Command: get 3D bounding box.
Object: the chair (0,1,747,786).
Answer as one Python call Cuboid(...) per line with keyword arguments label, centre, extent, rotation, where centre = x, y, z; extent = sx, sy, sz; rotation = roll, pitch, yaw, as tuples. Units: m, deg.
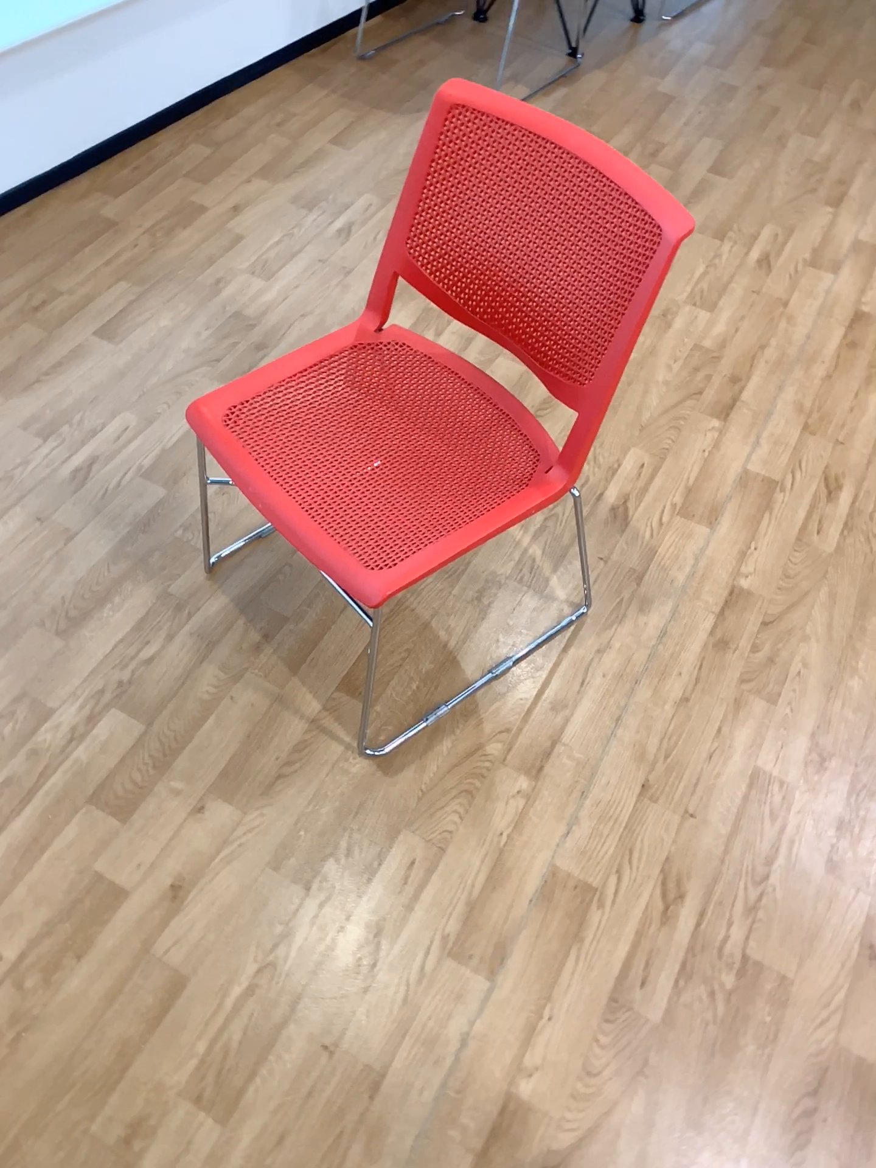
Cuboid(label="chair", centre=(-0.099, -0.253, 1.260), extent=(0.592, 0.705, 0.602), rotation=(-35, 63, -25))
